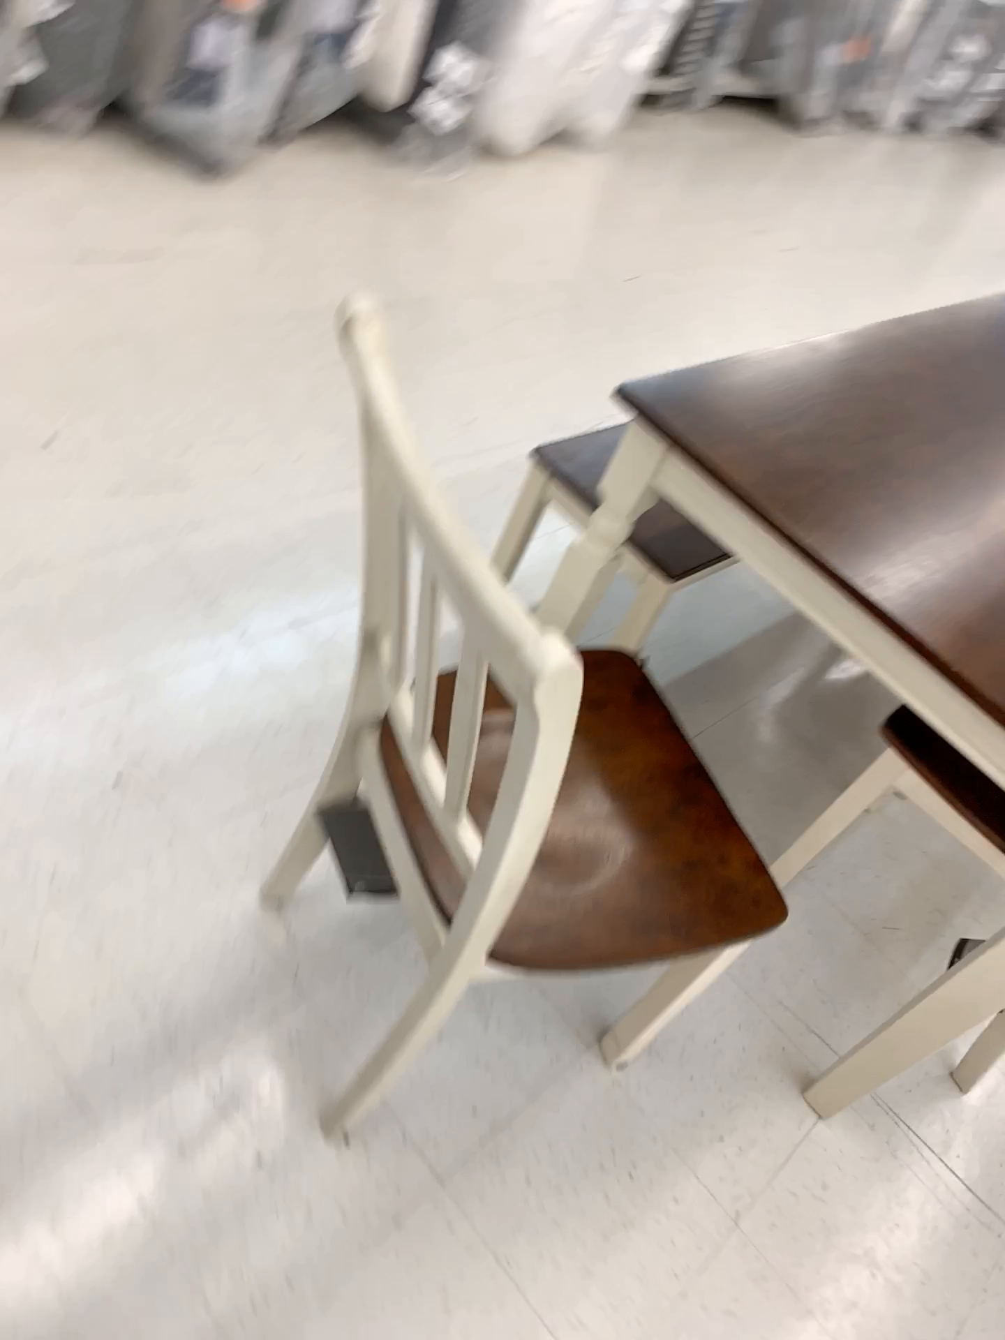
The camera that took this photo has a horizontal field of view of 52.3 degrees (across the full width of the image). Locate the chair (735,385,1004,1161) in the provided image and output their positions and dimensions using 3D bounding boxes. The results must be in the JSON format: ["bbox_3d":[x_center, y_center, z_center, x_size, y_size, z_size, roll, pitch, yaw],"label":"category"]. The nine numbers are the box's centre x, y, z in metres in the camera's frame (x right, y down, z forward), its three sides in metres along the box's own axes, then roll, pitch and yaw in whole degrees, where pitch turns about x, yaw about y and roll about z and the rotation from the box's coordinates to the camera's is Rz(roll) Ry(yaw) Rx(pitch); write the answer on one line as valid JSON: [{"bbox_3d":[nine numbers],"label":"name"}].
[{"bbox_3d":[0.918,0.176,1.539,0.466,0.933,0.605,-25,62,-40],"label":"chair"}]

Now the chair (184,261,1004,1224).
[{"bbox_3d":[0.046,0.119,1.178,0.595,0.903,0.525,-7,52,-30],"label":"chair"}]
